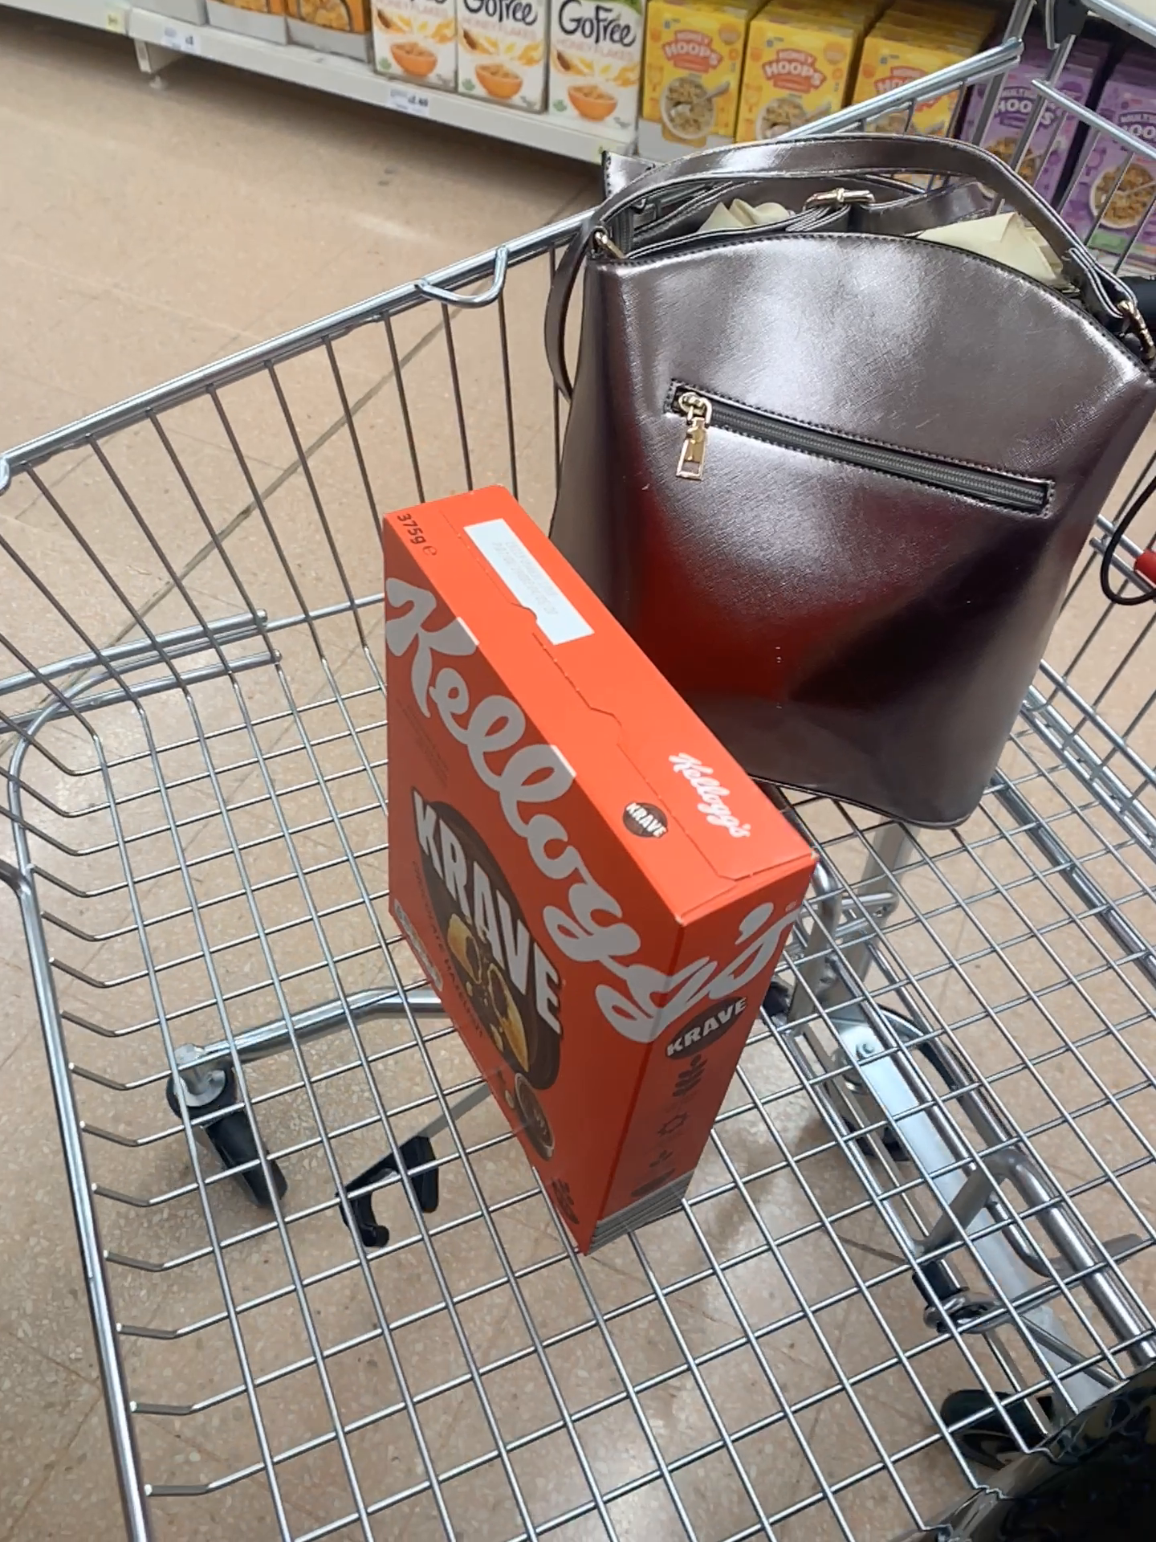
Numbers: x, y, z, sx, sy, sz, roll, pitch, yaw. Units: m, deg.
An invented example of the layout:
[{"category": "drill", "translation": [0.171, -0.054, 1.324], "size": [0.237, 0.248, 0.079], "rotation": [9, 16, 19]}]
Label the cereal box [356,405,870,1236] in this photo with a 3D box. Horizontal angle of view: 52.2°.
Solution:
[{"category": "cereal box", "translation": [-0.010, 0.025, 0.437], "size": [0.050, 0.228, 0.211], "rotation": [-21, 55, -23]}]
